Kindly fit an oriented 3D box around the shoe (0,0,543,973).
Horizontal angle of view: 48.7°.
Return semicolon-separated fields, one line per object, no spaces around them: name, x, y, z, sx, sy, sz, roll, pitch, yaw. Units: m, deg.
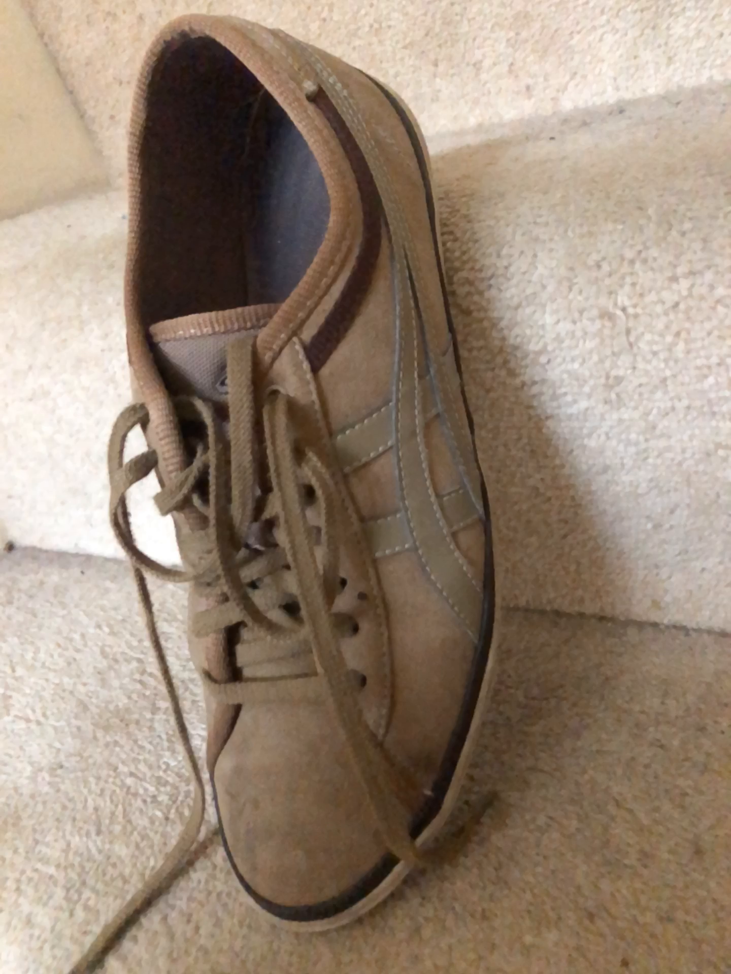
shoe;-0.020;0.006;0.271;0.110;0.301;0.120;-3;-13;34
